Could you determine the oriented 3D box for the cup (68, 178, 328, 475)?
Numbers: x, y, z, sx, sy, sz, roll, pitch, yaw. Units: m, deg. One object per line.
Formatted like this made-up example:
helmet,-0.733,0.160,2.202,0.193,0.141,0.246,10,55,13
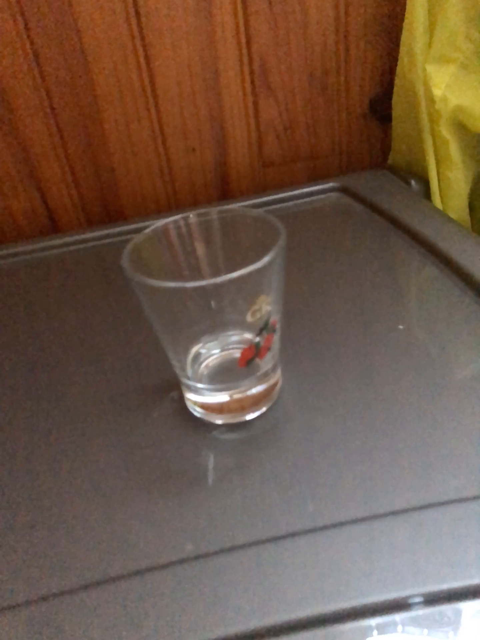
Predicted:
cup,-0.010,-0.001,0.201,0.060,0.080,0.060,-7,34,4
